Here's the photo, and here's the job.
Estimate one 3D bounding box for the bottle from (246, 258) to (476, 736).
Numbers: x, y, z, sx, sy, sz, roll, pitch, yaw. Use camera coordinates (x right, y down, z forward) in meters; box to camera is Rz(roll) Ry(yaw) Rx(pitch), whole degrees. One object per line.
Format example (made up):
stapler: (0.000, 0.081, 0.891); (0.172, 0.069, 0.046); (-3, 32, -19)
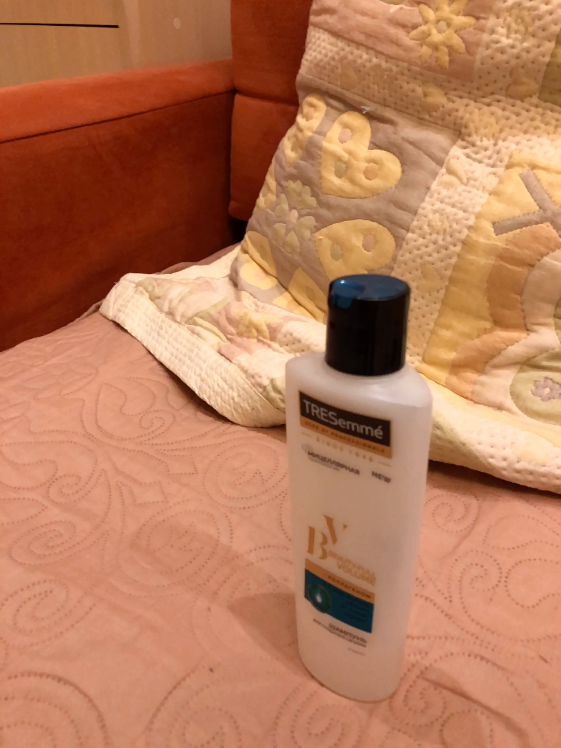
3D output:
bottle: (0.027, 0.058, 0.264); (0.070, 0.199, 0.040); (19, 33, 31)
